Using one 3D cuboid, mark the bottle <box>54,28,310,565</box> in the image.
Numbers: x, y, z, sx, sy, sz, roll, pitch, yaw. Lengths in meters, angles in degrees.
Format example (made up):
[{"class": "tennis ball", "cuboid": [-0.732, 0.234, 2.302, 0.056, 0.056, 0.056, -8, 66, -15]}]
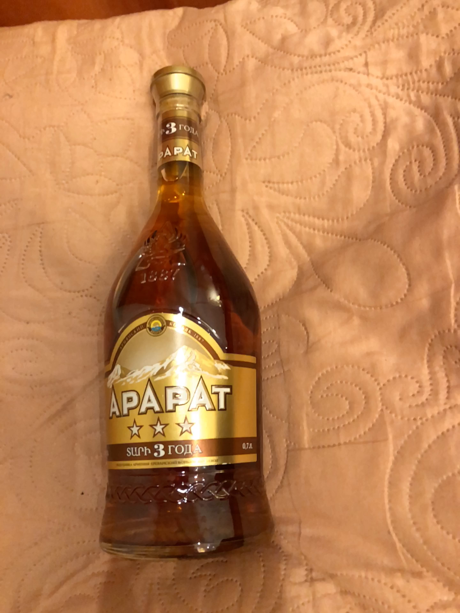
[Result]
[{"class": "bottle", "cuboid": [-0.024, -0.007, 0.283, 0.090, 0.090, 0.258, -10, 70, 19]}]
